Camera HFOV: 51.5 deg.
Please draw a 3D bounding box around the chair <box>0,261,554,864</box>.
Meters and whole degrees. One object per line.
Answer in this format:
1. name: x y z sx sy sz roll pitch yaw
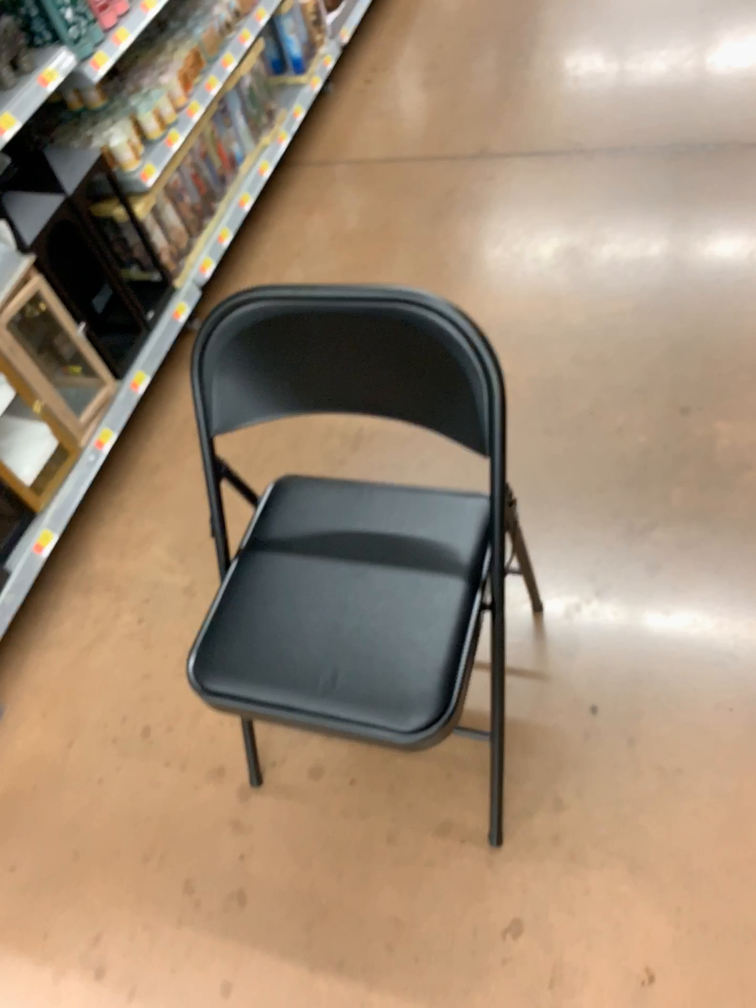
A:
1. chair: -0.053 0.111 1.065 0.471 0.697 0.471 6 57 20
